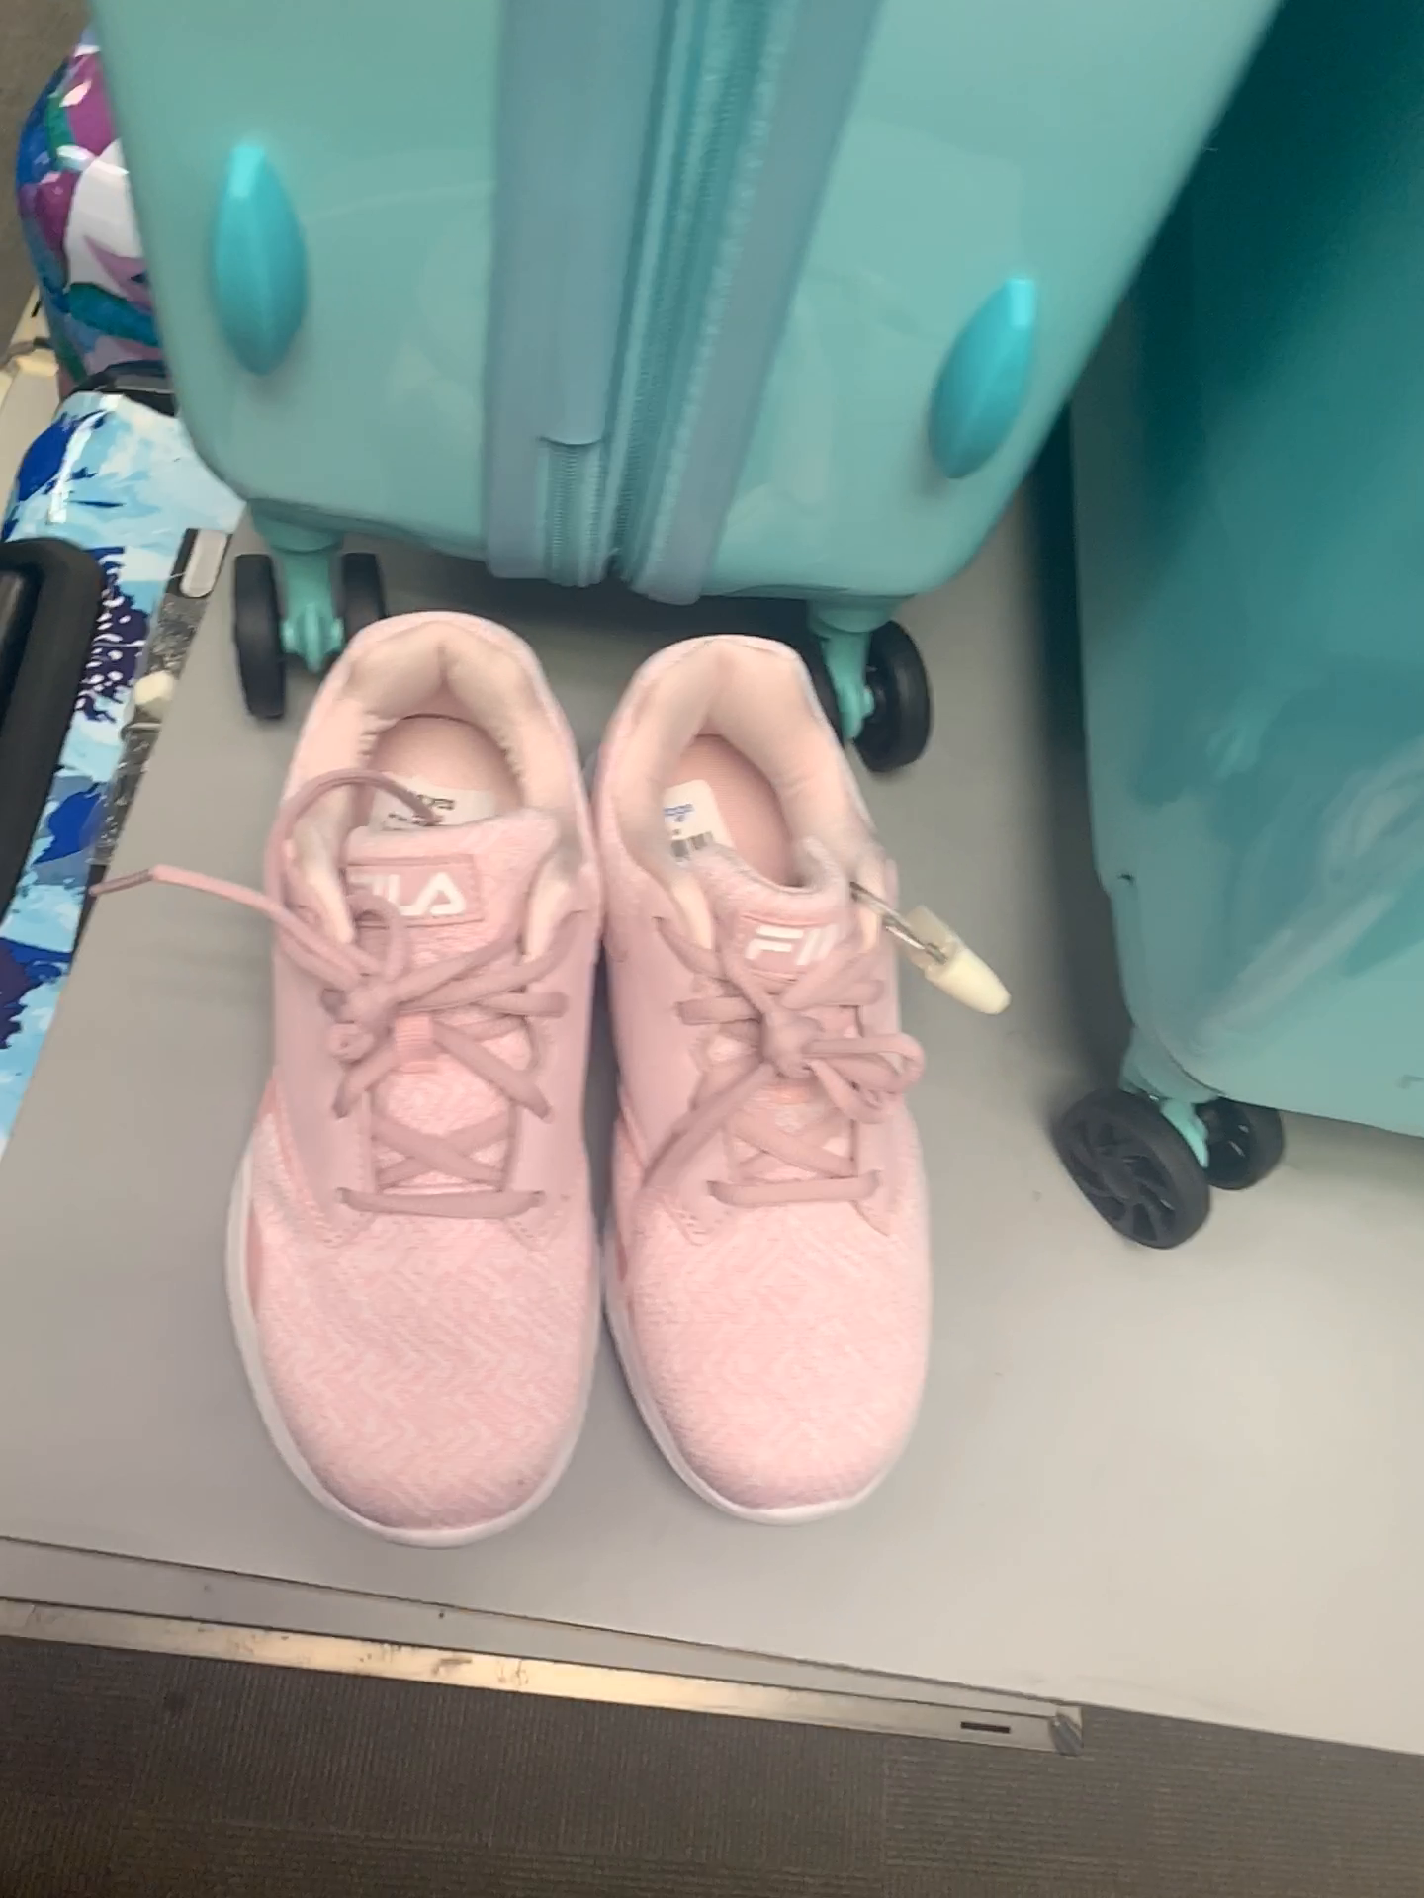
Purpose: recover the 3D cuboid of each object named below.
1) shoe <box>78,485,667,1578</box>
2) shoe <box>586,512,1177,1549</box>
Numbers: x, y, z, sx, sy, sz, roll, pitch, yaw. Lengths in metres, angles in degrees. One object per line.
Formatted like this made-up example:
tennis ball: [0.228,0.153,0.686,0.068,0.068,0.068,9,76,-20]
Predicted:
shoe: [-0.078,0.019,0.371,0.107,0.104,0.251,1,65,-10]
shoe: [0.027,0.020,0.390,0.107,0.104,0.251,1,65,-10]
